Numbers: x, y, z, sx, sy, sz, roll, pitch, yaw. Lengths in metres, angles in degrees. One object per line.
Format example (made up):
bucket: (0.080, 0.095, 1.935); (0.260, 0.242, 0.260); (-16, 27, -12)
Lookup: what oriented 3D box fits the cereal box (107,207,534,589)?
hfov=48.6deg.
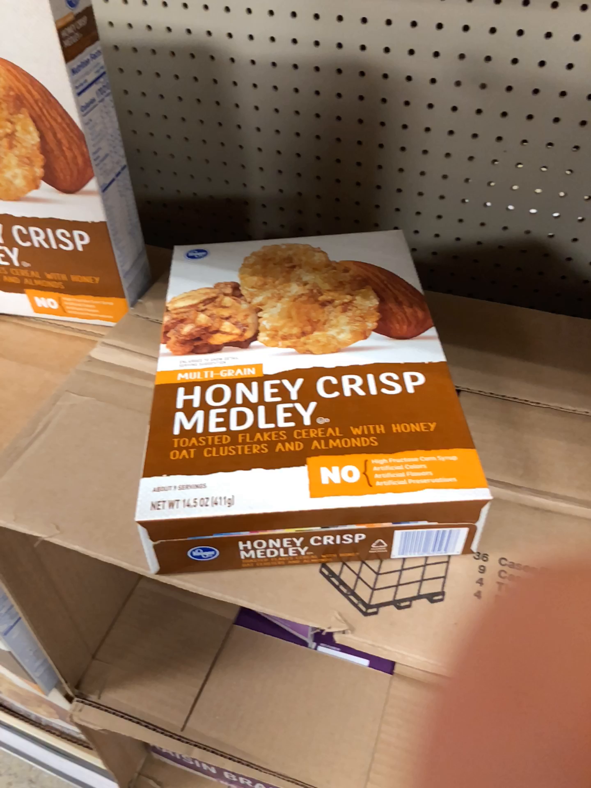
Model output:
cereal box: (0.004, -0.020, 0.422); (0.200, 0.060, 0.271); (-4, 45, -2)
